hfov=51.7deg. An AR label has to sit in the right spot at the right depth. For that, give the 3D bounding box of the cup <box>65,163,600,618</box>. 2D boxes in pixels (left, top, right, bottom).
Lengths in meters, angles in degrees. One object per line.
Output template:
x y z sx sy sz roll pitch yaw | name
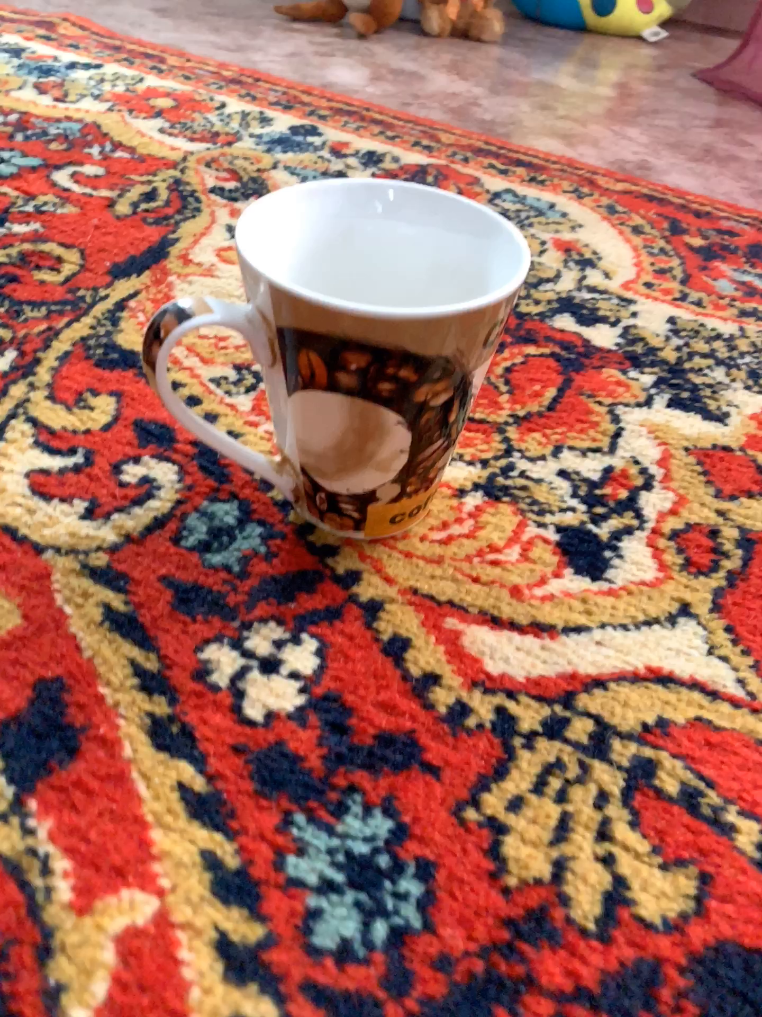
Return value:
-0.018 -0.040 0.221 0.110 0.079 0.081 -14 45 -23 | cup
